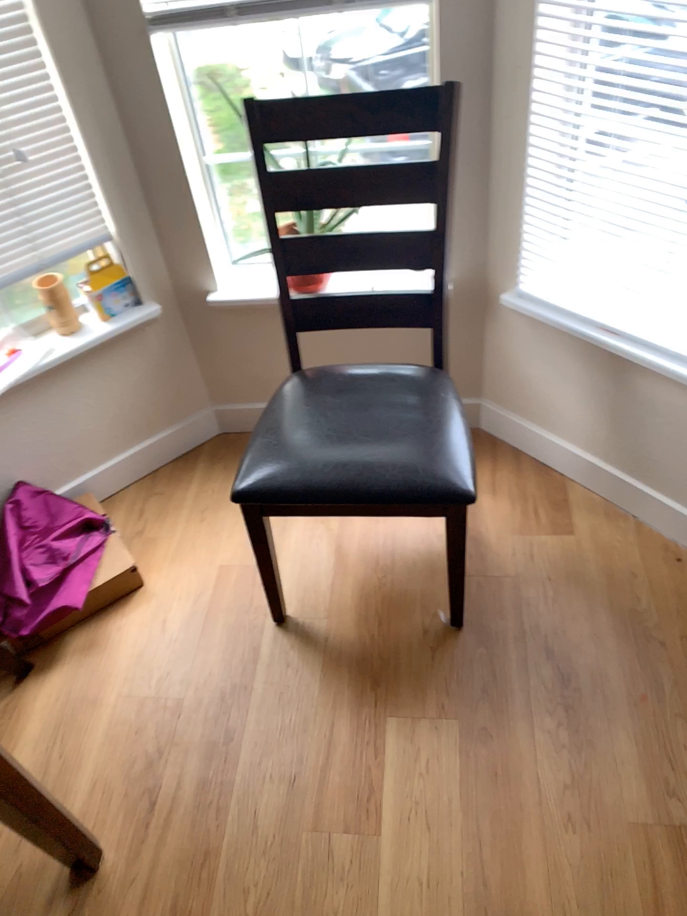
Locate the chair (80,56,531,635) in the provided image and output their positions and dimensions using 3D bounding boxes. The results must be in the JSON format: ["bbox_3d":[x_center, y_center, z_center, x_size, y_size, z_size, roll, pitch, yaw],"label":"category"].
[{"bbox_3d":[0.017,-0.154,1.378,0.560,0.946,0.542,-1,45,8],"label":"chair"}]
